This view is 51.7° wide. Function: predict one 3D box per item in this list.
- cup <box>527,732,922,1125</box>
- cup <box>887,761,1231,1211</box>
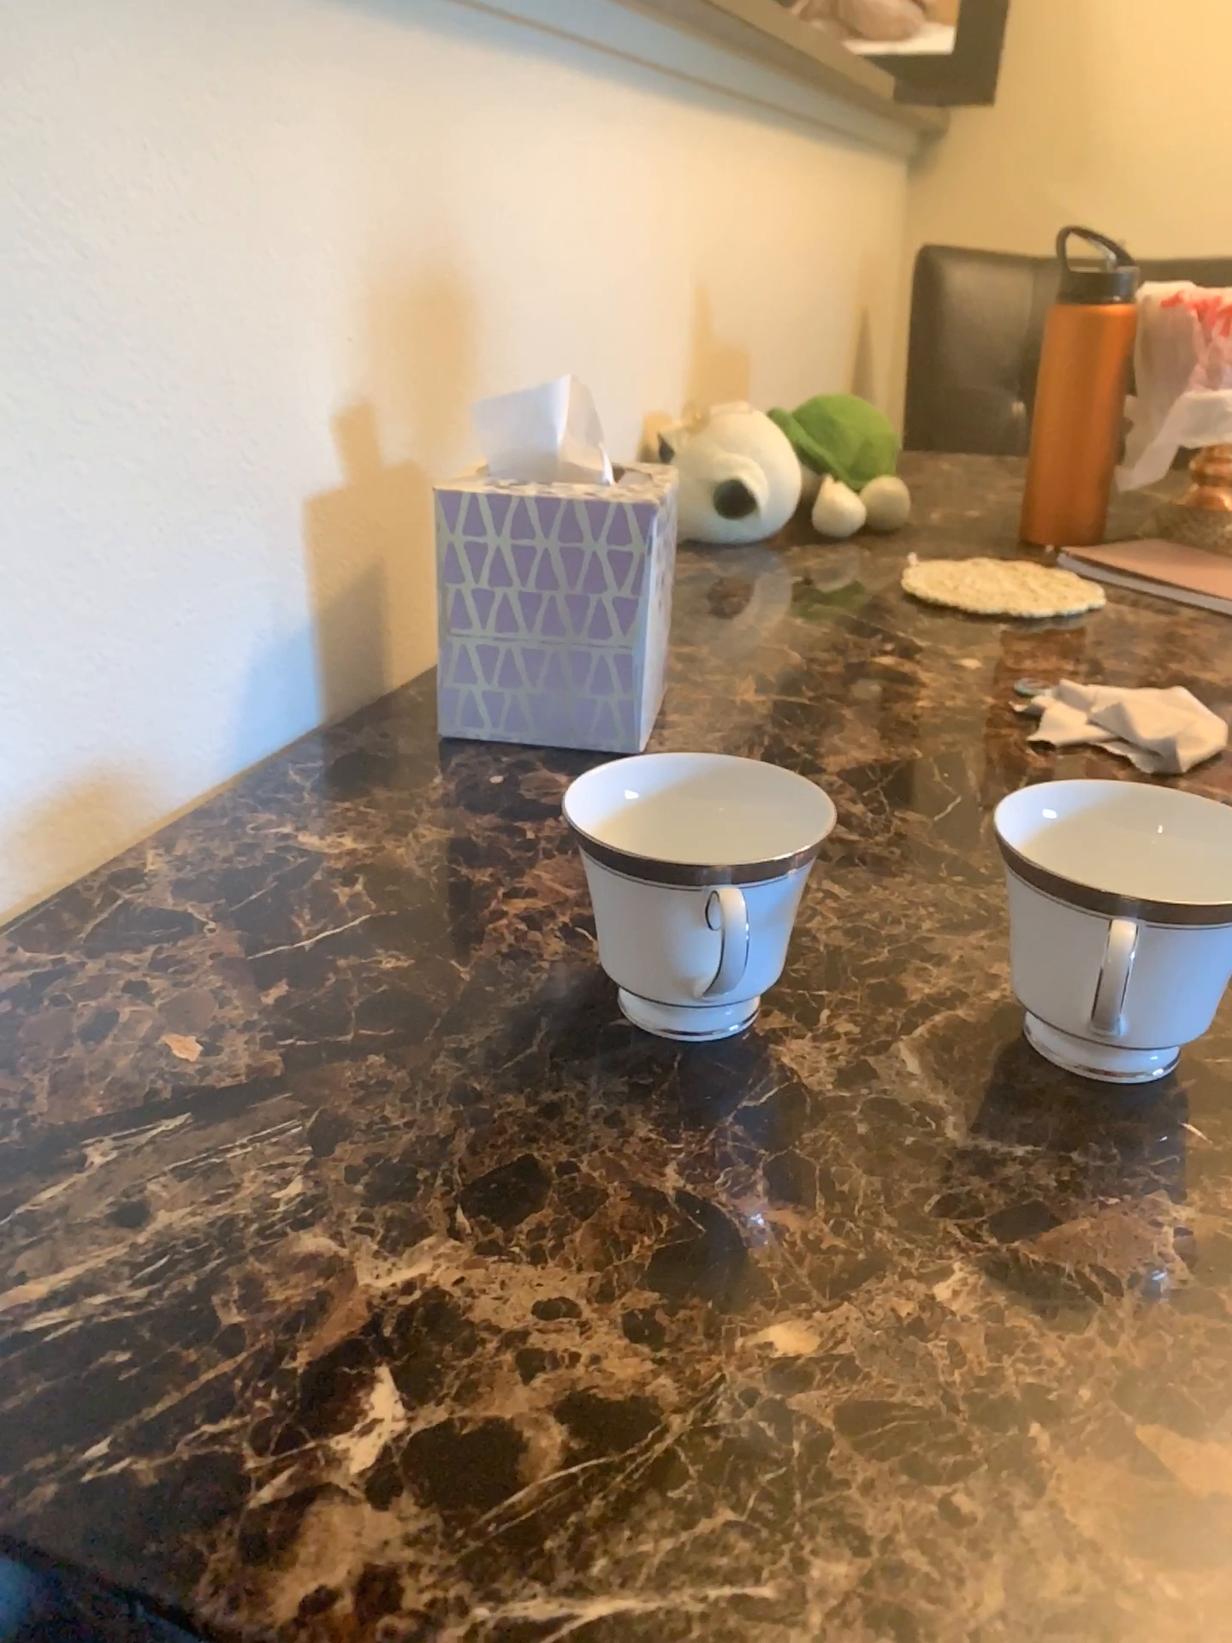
[{"bbox_3d":[0.027,0.027,0.403,0.090,0.070,0.111,-5,25,-13],"label":"cup"},{"bbox_3d":[0.153,0.042,0.397,0.090,0.070,0.120,15,28,28],"label":"cup"}]
